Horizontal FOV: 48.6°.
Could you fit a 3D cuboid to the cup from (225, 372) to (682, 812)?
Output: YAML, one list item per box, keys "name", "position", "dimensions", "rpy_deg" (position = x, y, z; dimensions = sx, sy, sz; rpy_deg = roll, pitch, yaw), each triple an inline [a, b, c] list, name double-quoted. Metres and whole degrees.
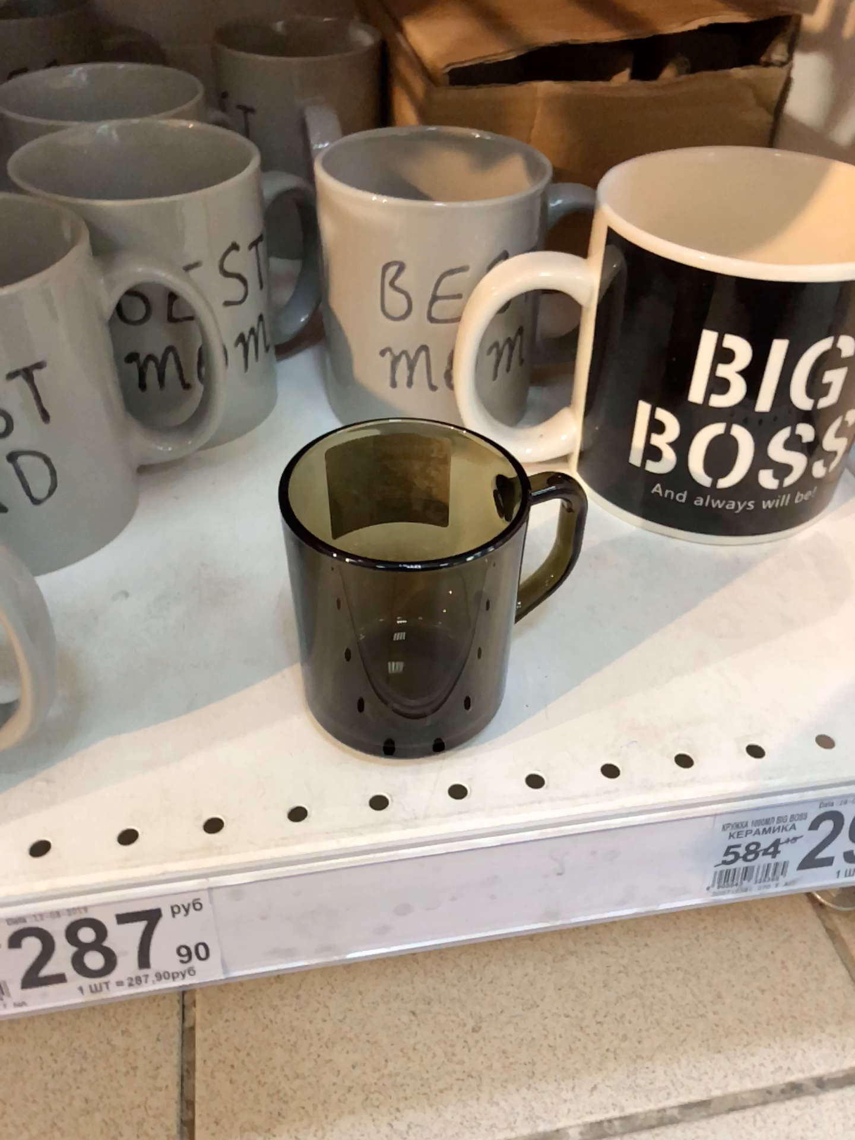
- name: "cup"
  position: [0.006, 0.001, 0.298]
  dimensions: [0.105, 0.074, 0.082]
  rpy_deg: [-22, 46, -26]
